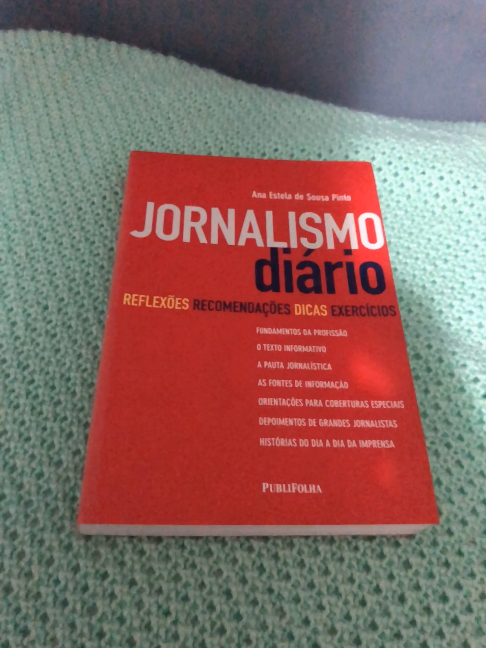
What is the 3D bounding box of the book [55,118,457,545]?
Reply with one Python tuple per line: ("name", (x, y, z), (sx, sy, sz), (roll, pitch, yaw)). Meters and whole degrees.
("book", (0.004, -0.017, 0.295), (0.160, 0.030, 0.251), (0, 58, -2))
